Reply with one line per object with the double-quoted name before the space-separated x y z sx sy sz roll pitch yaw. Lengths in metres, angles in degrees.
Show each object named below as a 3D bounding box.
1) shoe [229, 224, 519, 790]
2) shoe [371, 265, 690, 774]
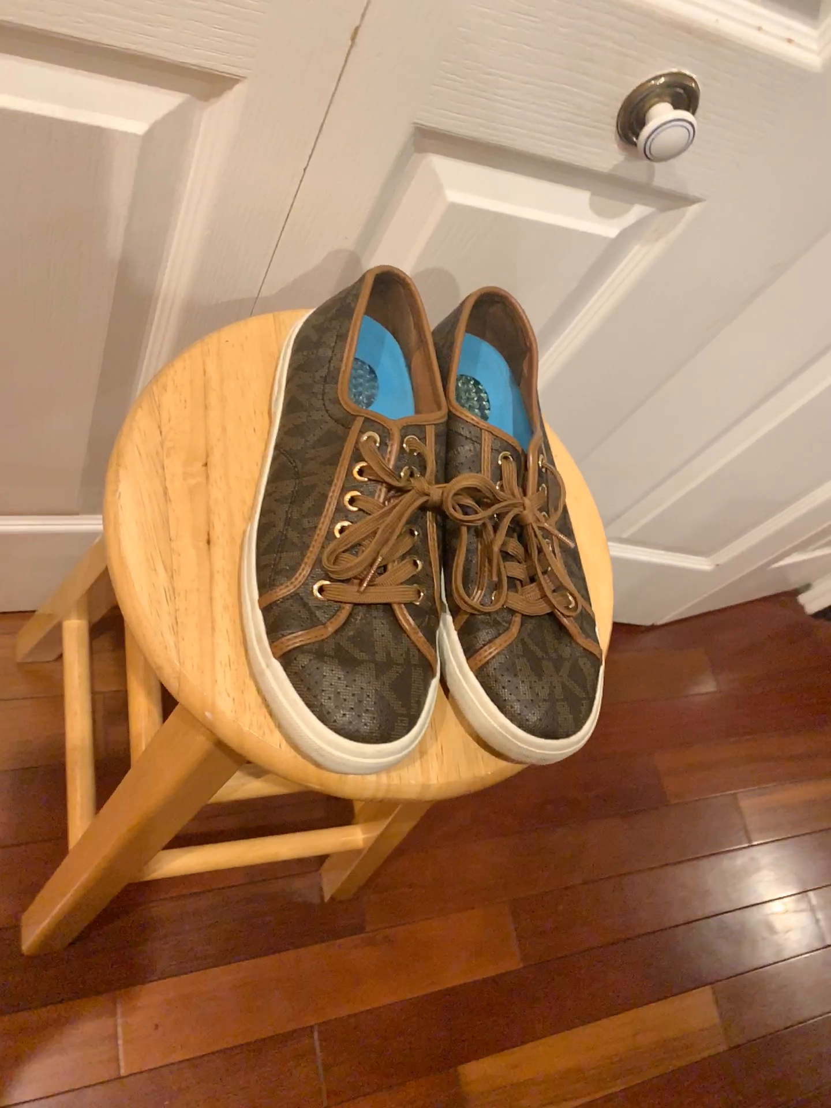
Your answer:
"shoe" -0.026 -0.025 0.430 0.100 0.090 0.260 9 61 -22
"shoe" 0.051 -0.022 0.470 0.100 0.080 0.260 3 63 -25
